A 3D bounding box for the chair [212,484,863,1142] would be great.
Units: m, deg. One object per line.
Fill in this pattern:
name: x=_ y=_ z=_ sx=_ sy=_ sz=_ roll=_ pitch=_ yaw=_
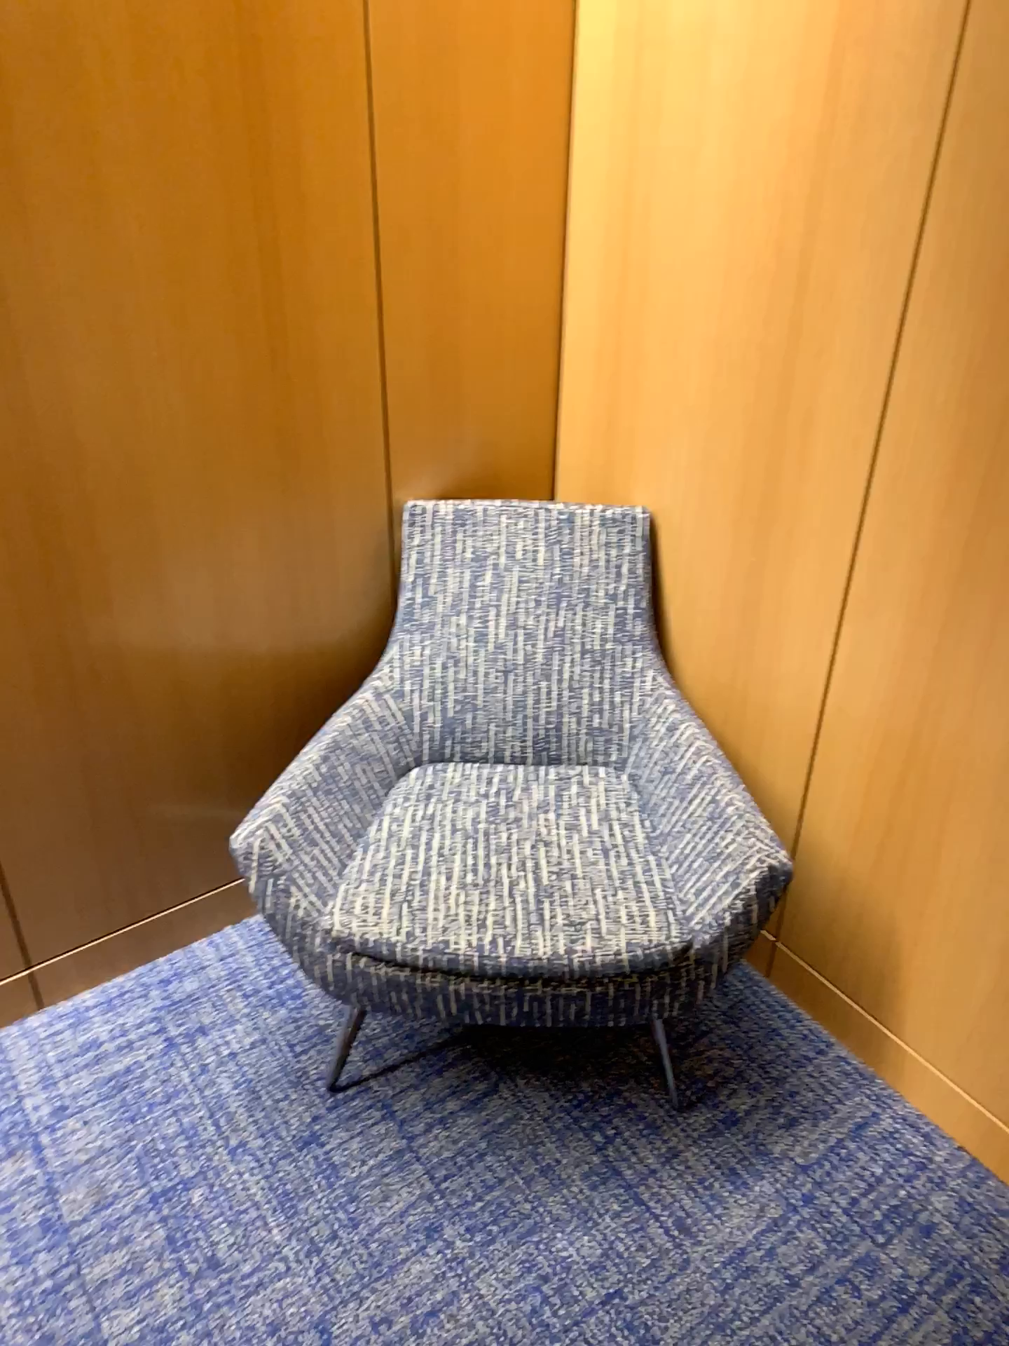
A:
chair: x=0.033 y=0.188 z=1.558 sx=0.699 sy=0.746 sz=0.617 roll=1 pitch=31 yaw=0
